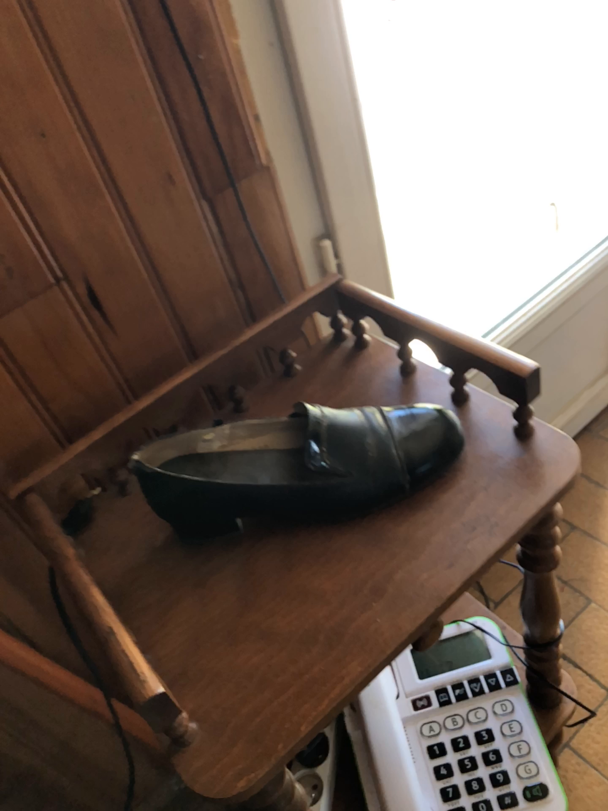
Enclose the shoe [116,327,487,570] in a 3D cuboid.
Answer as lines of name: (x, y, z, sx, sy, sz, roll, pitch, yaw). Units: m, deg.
shoe: (-0.002, 0.035, 0.534, 0.260, 0.089, 0.101, -14, 41, 5)
